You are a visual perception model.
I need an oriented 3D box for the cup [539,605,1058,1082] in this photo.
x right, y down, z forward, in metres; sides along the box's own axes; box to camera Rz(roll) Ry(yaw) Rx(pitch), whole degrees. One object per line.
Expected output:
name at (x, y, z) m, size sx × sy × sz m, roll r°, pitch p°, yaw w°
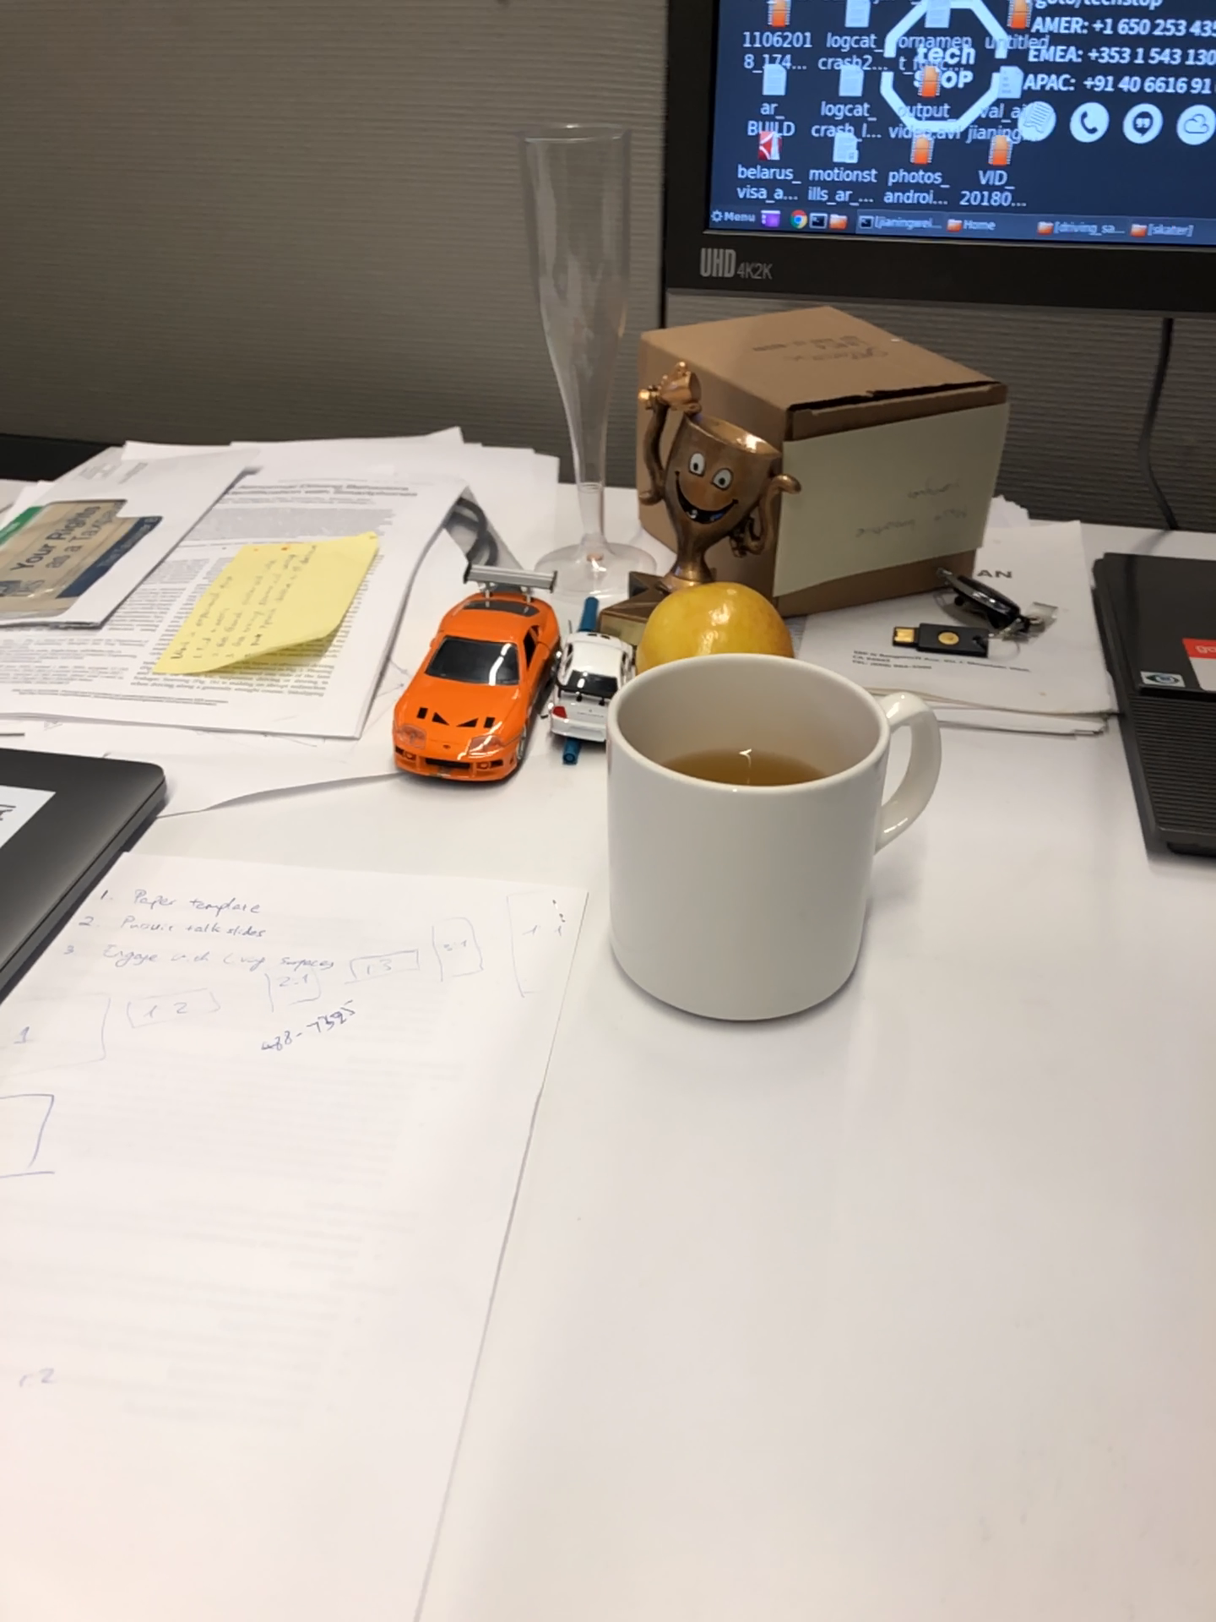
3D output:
cup at (0.053, 0.004, 0.394) m, size 0.120 × 0.080 × 0.080 m, roll -19°, pitch 37°, yaw -26°
